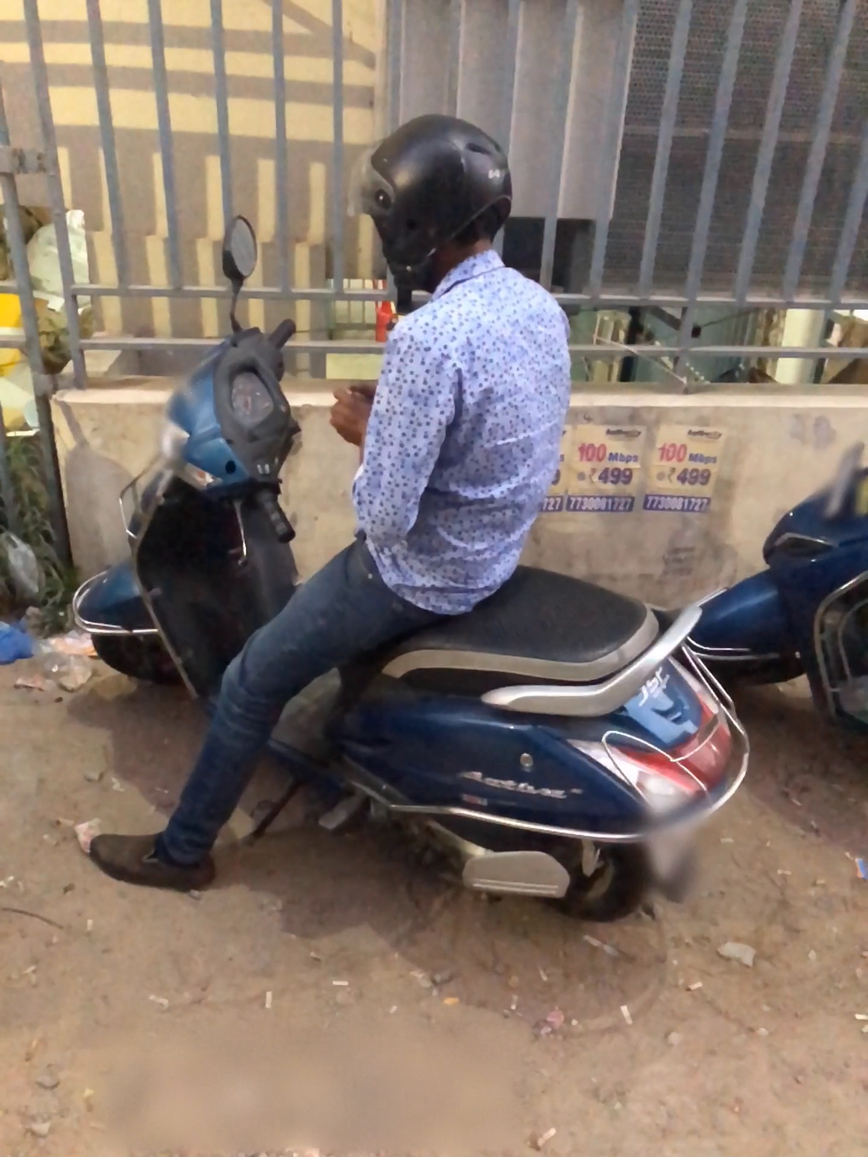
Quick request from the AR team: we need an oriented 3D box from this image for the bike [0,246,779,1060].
[{"bbox_3d":[-0.199,0.076,2.024,1.469,1.130,0.619,18,31,19],"label":"bike"}]
